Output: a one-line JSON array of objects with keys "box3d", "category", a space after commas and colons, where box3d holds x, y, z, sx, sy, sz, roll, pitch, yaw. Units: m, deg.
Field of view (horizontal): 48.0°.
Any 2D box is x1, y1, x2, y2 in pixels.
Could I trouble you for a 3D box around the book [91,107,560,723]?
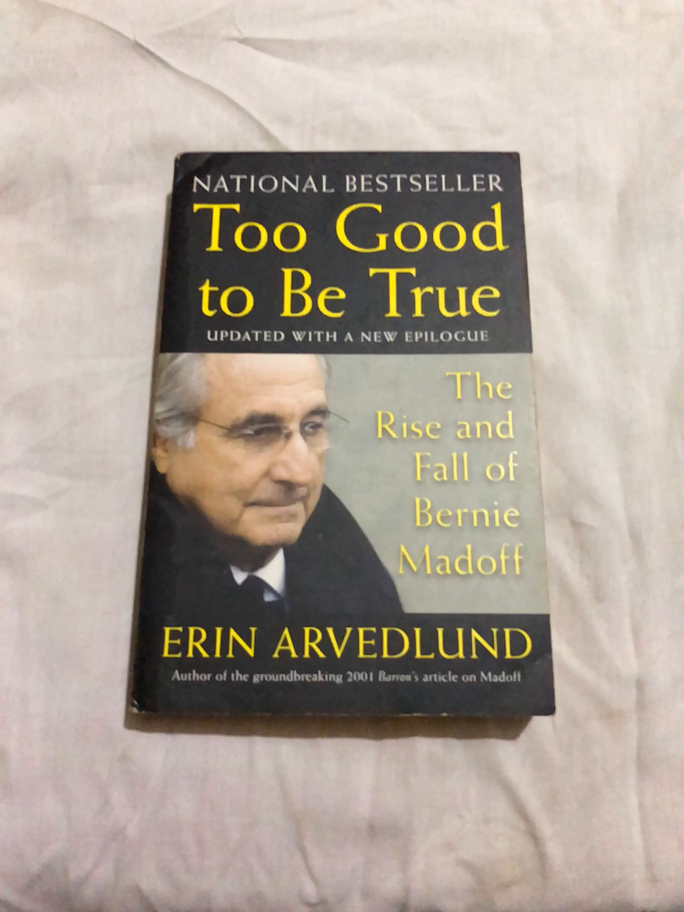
[{"box3d": [-0.005, -0.022, 0.290, 0.150, 0.030, 0.230, 0, 75, 2], "category": "book"}]
